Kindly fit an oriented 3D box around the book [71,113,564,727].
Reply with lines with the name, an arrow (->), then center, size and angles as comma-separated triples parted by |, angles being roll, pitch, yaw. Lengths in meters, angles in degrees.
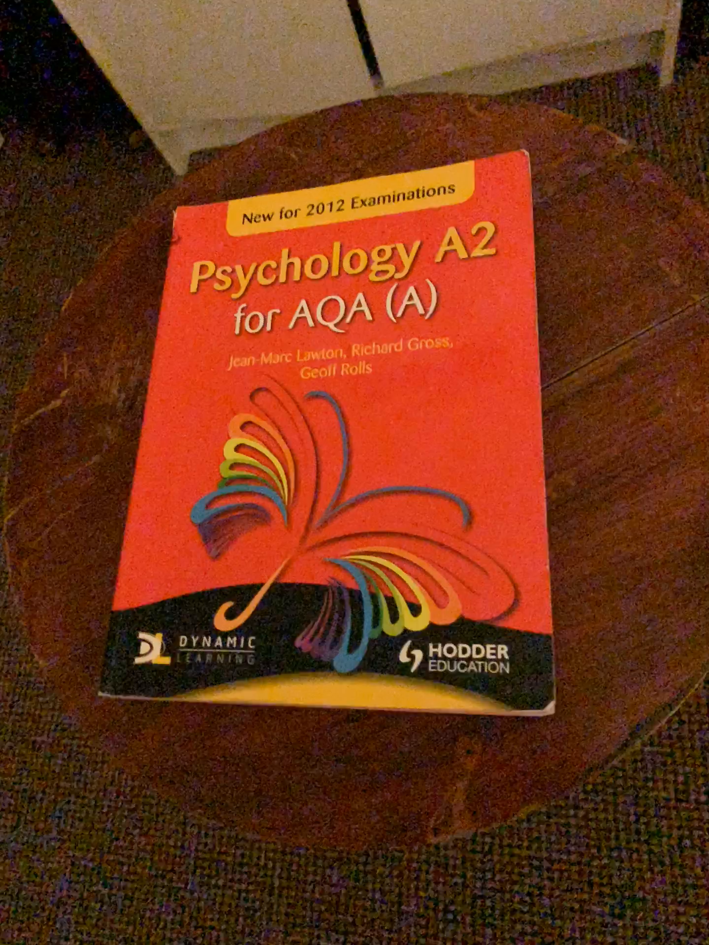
book -> -0.012, -0.033, 0.362 | 0.210, 0.040, 0.291 | -3, 68, 17
